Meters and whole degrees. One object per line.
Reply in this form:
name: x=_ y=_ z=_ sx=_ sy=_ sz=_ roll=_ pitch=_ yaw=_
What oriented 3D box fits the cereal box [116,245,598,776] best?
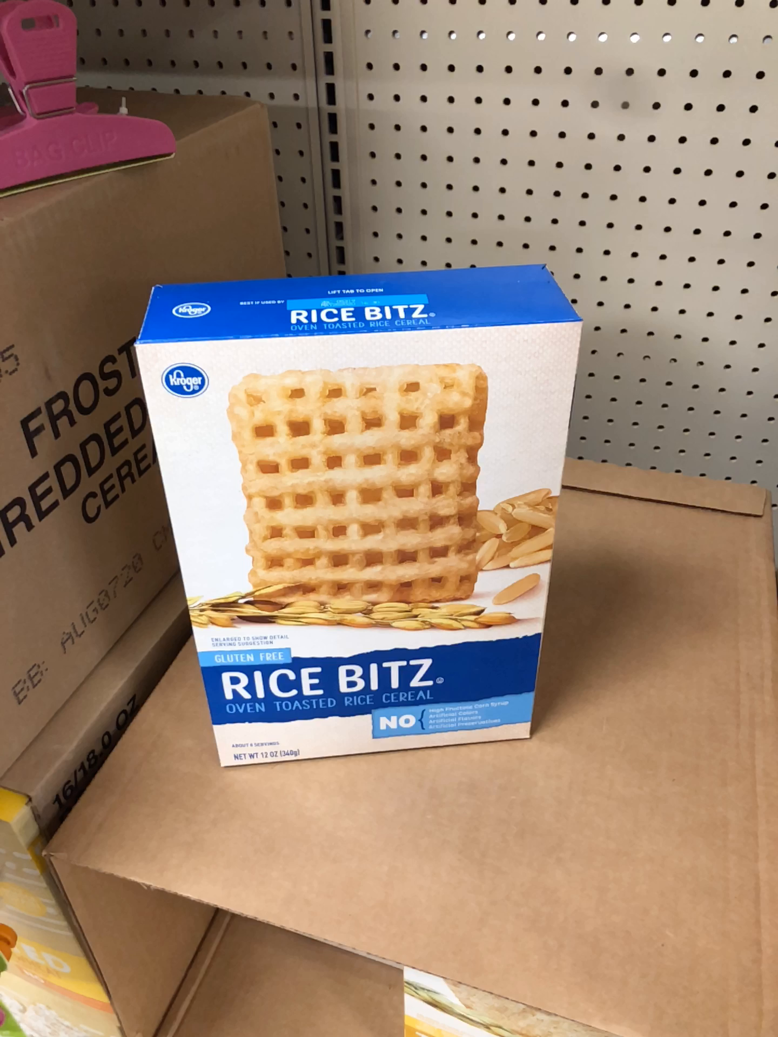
cereal box: x=-0.011 y=0.012 z=0.470 sx=0.200 sy=0.289 sz=0.070 roll=-4 pitch=36 yaw=-3
